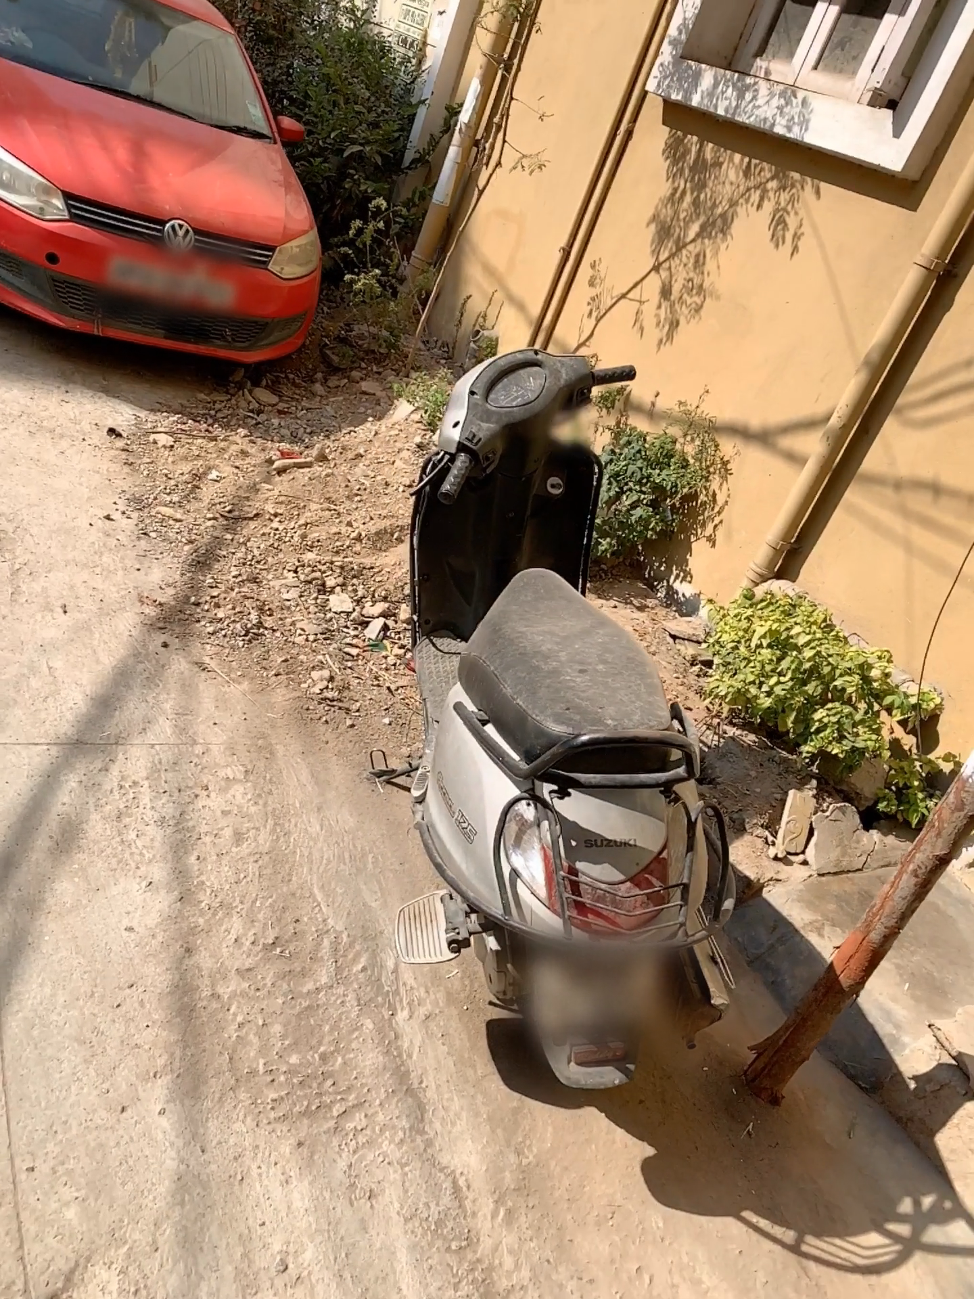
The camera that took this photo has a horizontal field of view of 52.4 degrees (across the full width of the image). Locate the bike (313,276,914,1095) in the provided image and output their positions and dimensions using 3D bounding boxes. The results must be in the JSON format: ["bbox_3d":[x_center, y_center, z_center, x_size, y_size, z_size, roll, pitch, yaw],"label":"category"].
[{"bbox_3d":[0.034,-0.058,2.092,0.549,1.001,1.515,13,28,-17],"label":"bike"}]
